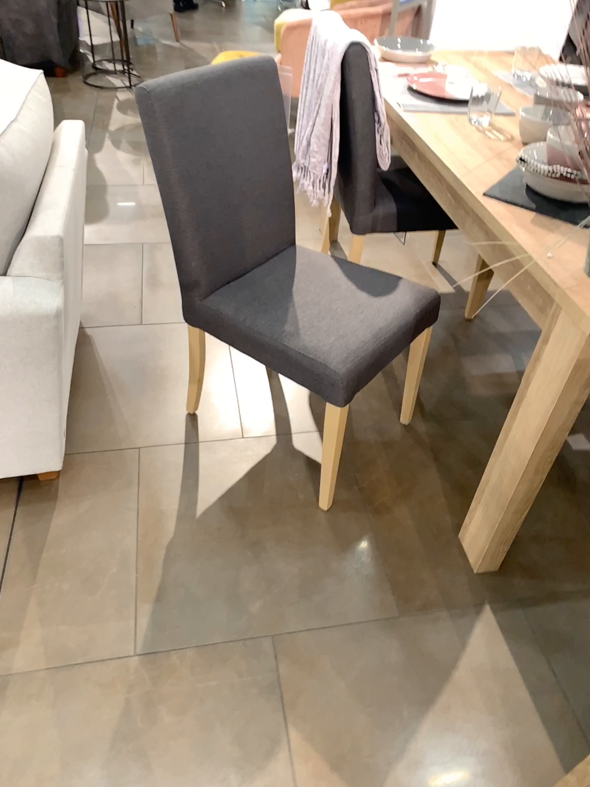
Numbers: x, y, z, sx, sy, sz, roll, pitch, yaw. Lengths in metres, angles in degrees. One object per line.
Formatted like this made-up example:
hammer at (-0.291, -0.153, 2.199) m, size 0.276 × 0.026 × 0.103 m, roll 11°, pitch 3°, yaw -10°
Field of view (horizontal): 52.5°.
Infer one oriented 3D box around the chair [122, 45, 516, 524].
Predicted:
chair at (0.024, -0.272, 1.495) m, size 0.616 × 0.889 × 0.509 m, roll 31°, pitch 48°, yaw 27°
